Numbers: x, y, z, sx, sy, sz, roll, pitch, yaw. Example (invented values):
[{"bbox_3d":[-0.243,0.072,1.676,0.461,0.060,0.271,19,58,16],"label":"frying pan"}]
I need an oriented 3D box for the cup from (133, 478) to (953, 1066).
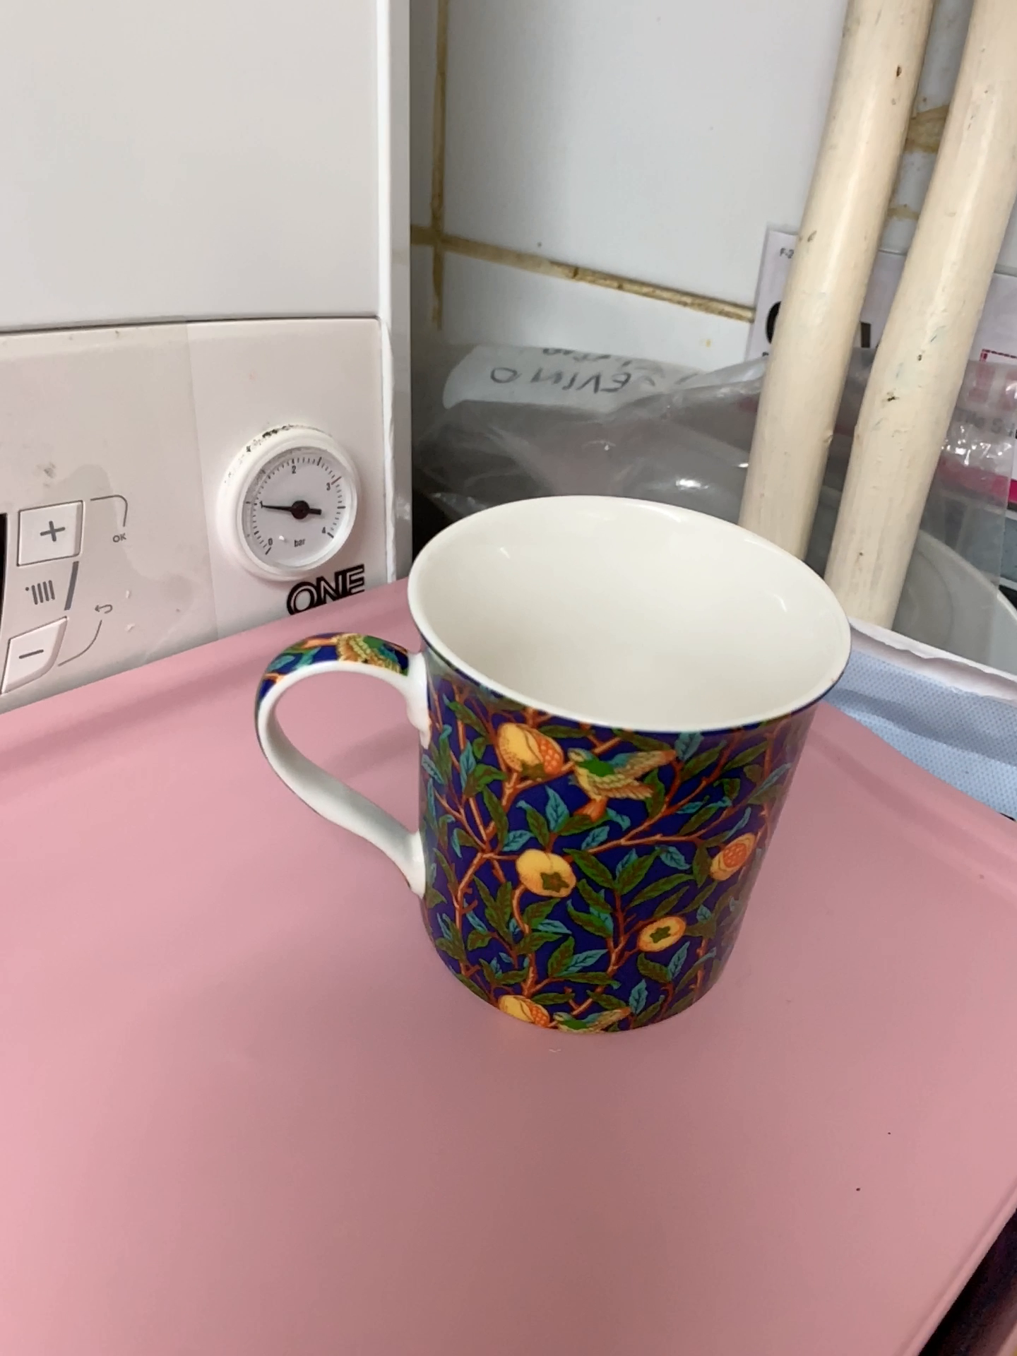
[{"bbox_3d":[0.002,0.014,0.208,0.120,0.079,0.081,0,31,-6],"label":"cup"}]
